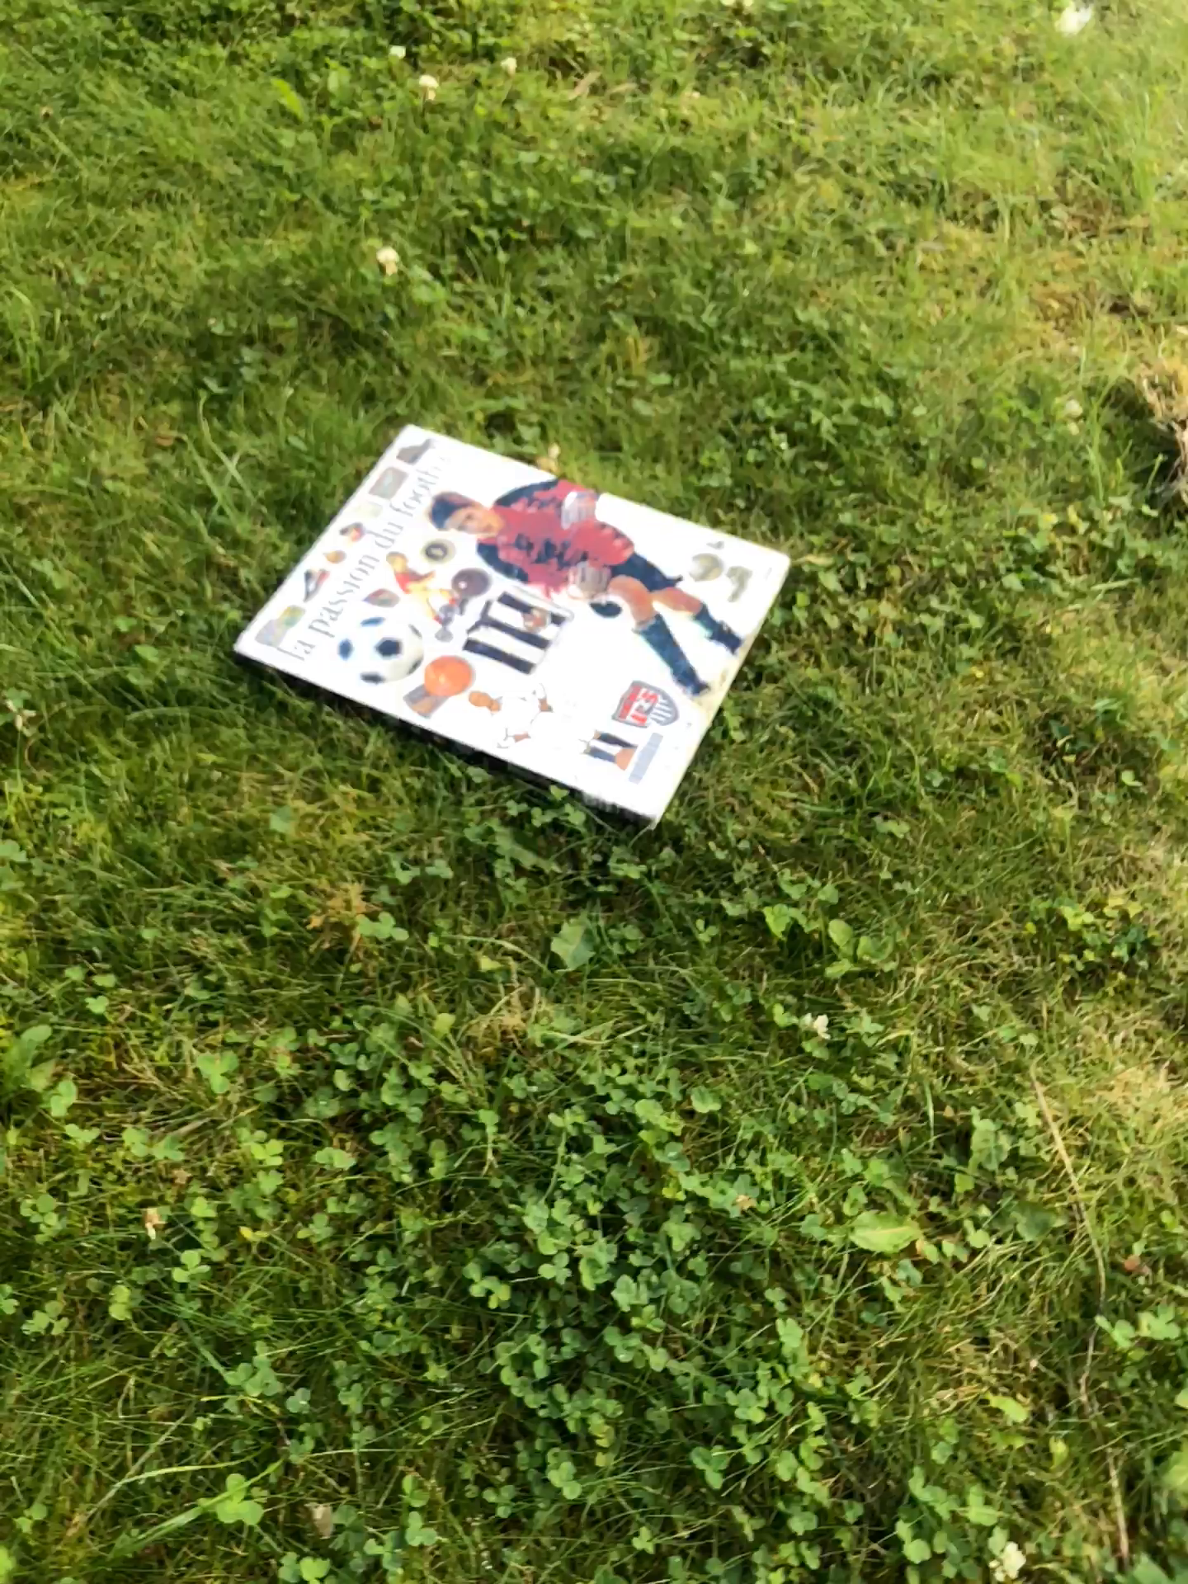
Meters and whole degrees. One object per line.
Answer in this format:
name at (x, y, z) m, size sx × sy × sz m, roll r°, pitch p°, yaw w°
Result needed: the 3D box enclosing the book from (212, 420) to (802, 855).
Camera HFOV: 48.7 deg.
book at (-0.049, -0.111, 0.835) m, size 0.300 × 0.020 × 0.231 m, roll 22°, pitch 60°, yaw 12°
